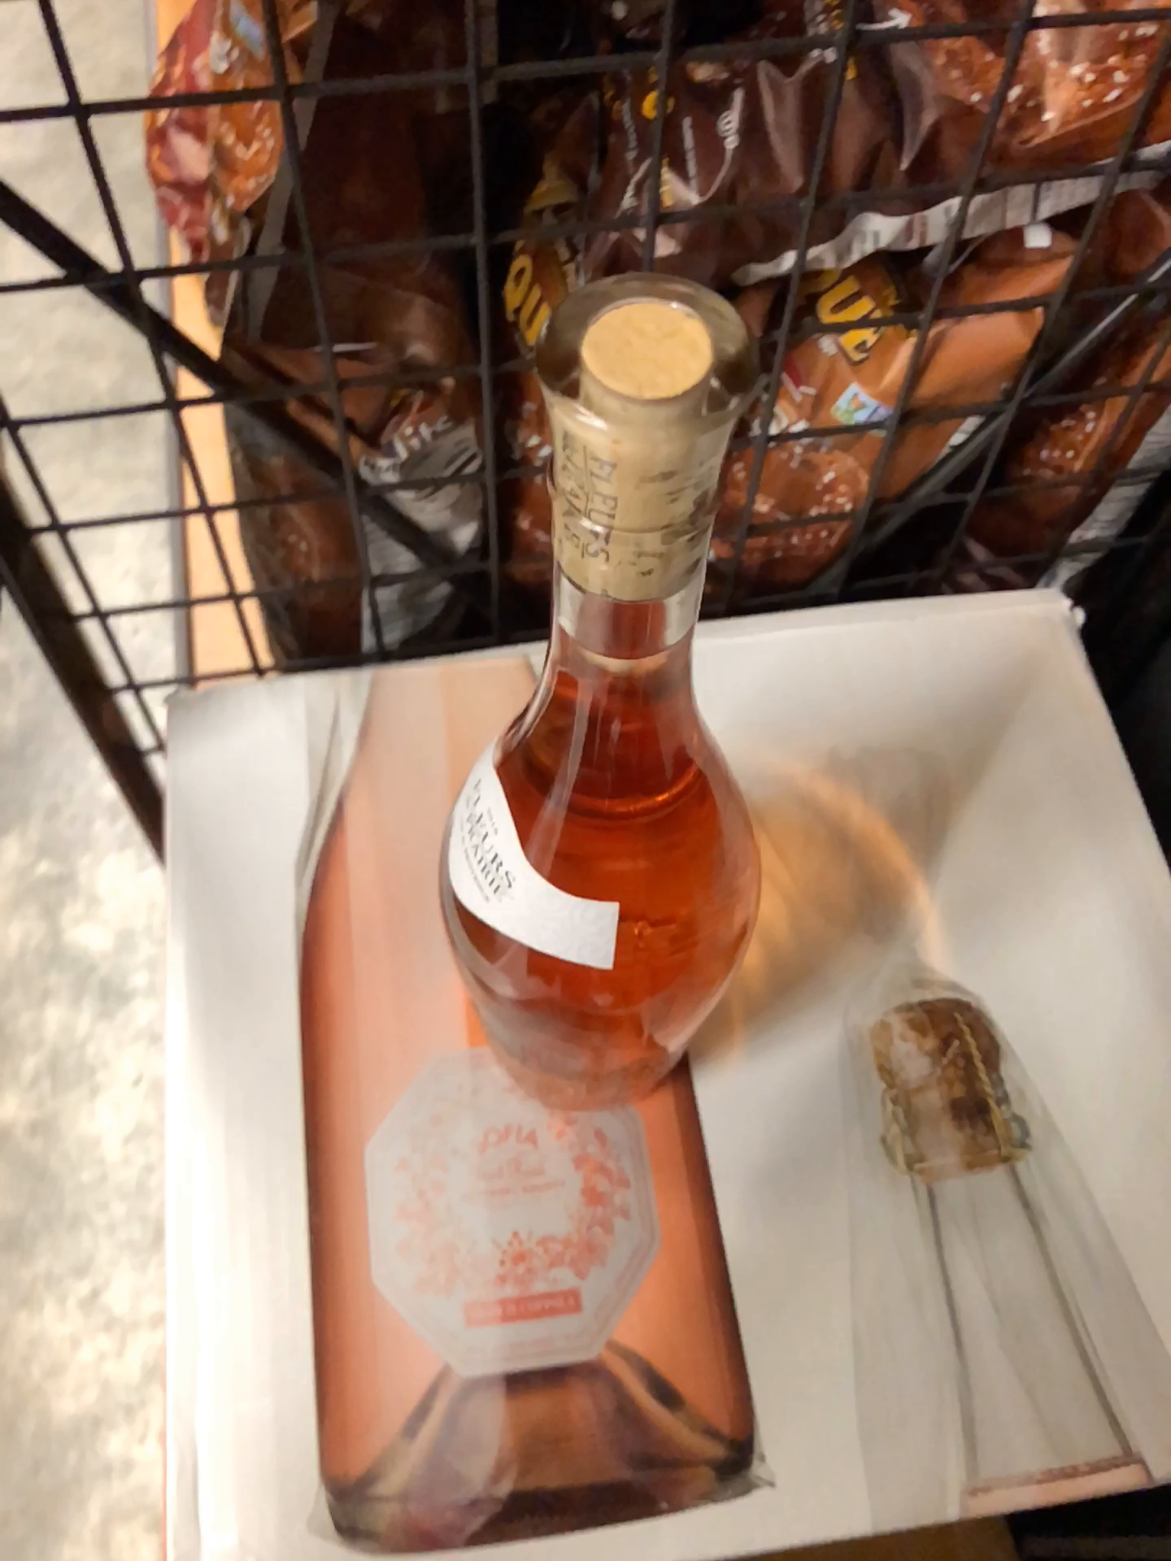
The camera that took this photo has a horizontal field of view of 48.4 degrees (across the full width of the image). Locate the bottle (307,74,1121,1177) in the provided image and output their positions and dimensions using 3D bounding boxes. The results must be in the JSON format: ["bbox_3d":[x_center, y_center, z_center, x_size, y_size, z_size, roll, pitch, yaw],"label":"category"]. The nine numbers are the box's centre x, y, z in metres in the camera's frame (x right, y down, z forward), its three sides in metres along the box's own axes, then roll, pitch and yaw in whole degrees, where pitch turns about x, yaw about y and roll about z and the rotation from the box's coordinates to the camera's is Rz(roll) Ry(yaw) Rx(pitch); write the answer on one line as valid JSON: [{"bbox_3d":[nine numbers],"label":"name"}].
[{"bbox_3d":[0.009,0.007,0.310,0.090,0.299,0.080,-15,62,-11],"label":"bottle"}]
